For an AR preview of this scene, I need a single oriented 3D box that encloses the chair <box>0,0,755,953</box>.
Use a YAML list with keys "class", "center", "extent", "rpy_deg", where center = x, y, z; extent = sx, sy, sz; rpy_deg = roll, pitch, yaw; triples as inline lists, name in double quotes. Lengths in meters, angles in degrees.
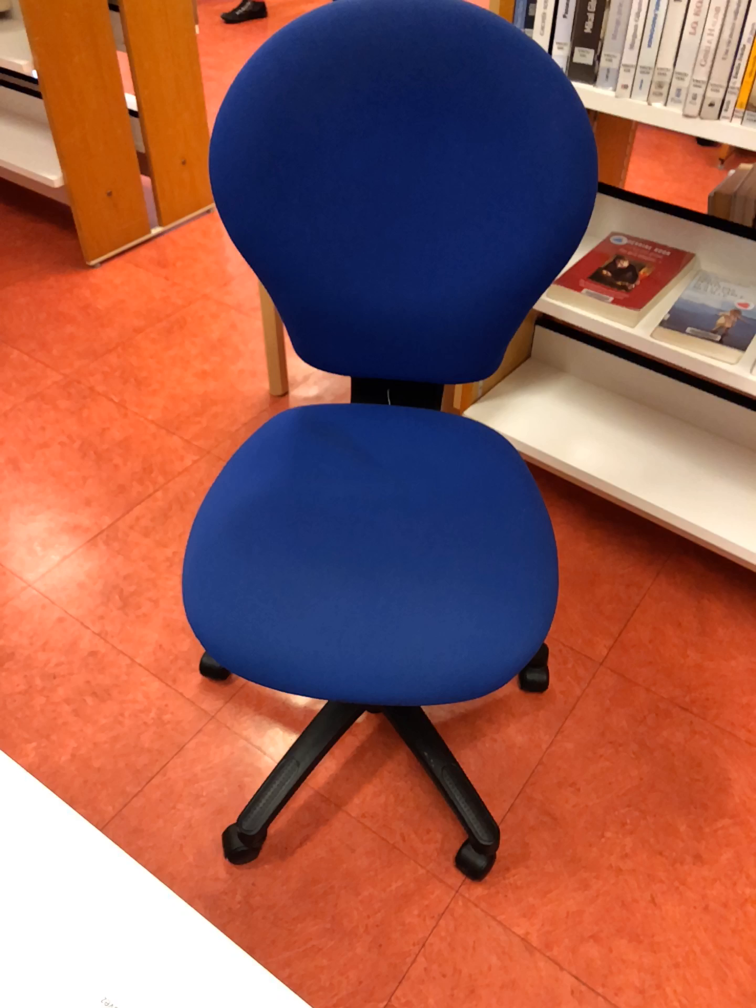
- class: "chair"
  center: [0.000, -0.020, 1.013]
  extent: [0.660, 0.914, 0.624]
  rpy_deg: [10, 45, 9]
